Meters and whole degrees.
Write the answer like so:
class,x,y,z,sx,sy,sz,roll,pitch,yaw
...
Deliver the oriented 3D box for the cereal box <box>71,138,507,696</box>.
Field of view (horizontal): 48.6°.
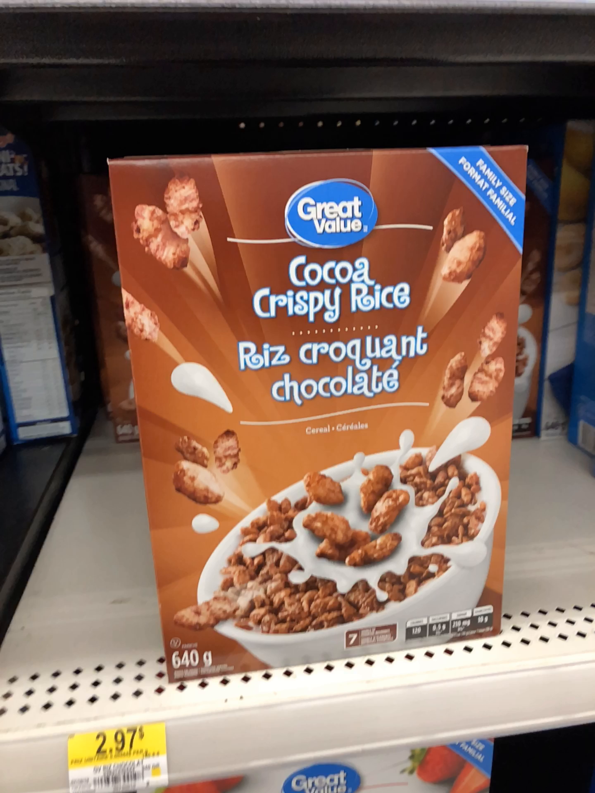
class,x,y,z,sx,sy,sz,roll,pitch,yaw
cereal box,0.001,0.011,0.395,0.210,0.298,0.080,-5,17,-8
